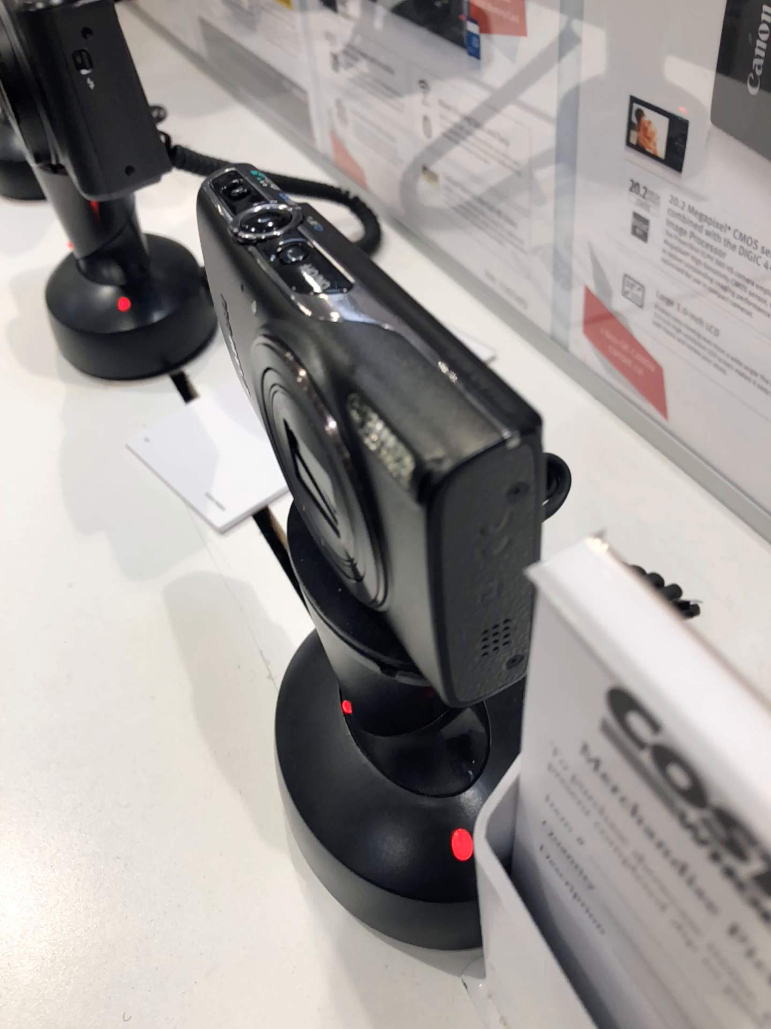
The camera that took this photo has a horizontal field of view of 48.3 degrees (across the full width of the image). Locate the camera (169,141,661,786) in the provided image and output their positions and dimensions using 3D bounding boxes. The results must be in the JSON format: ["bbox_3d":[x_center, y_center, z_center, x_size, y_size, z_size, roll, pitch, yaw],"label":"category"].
[{"bbox_3d":[-0.002,-0.016,0.157,0.030,0.060,0.111,-23,47,-14],"label":"camera"}]
